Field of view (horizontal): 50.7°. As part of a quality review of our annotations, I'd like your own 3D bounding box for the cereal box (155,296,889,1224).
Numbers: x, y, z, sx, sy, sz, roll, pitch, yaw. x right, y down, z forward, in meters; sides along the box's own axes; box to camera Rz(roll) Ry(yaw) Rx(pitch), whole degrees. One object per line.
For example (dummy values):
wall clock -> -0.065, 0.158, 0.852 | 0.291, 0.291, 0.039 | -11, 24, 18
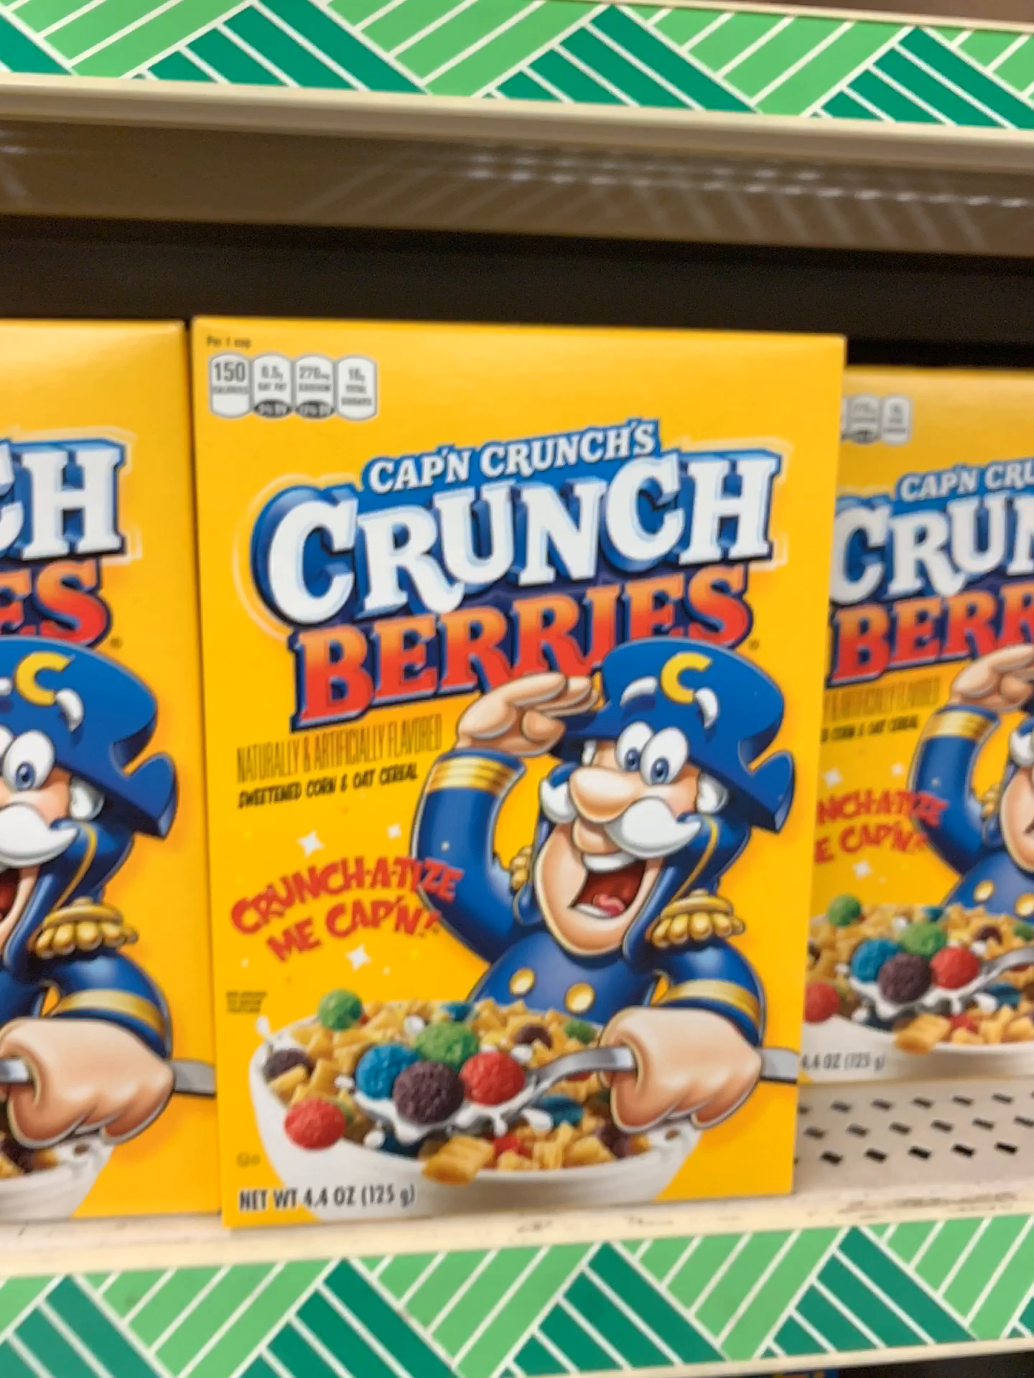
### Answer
cereal box -> 0.000, 0.017, 0.262 | 0.150, 0.200, 0.050 | -1, 9, -6
